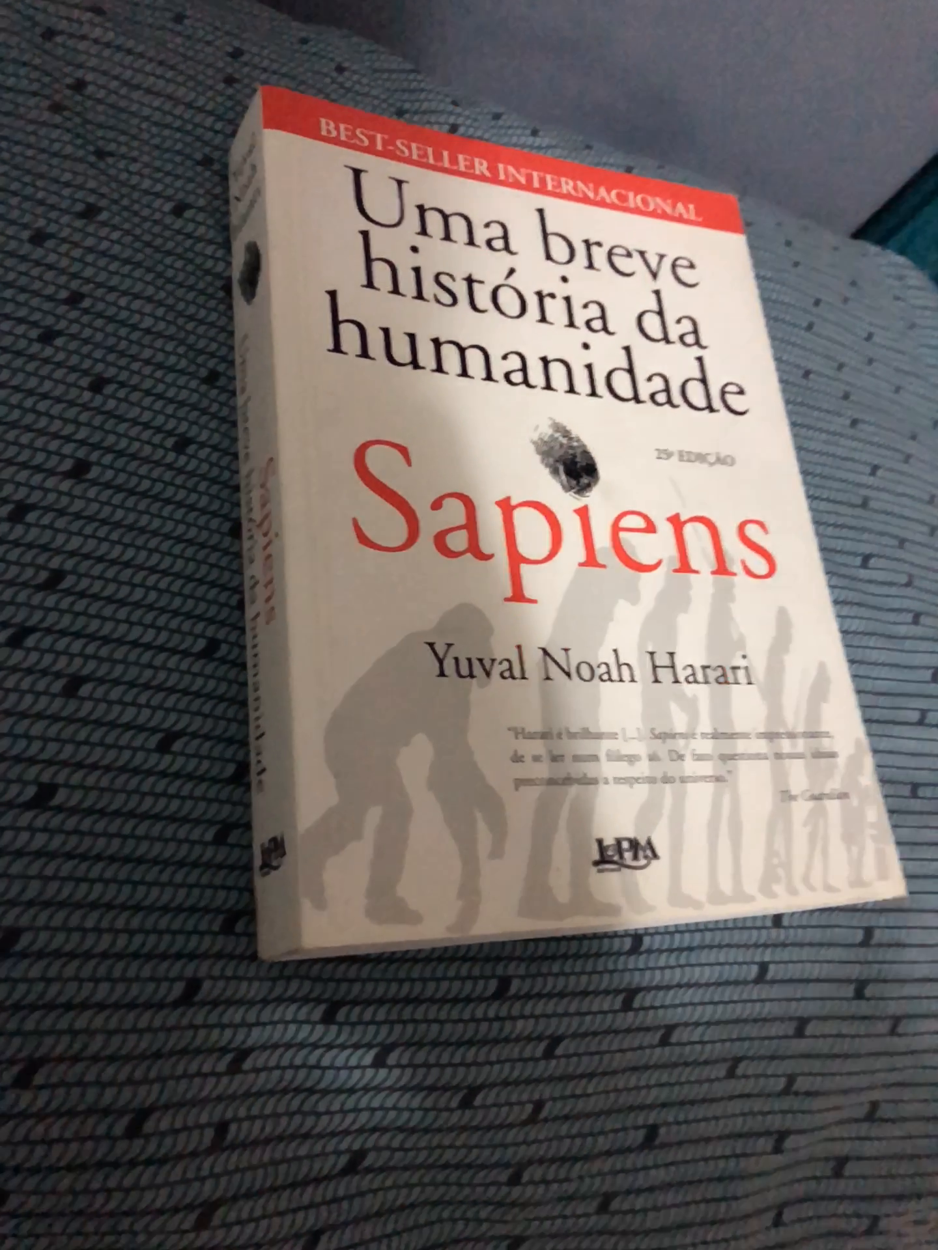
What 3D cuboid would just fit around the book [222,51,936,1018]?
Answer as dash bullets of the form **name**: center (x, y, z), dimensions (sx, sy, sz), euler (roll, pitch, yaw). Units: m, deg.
- **book**: center (0.022, -0.031, 0.286), dimensions (0.160, 0.040, 0.241), euler (3, 67, -25)
